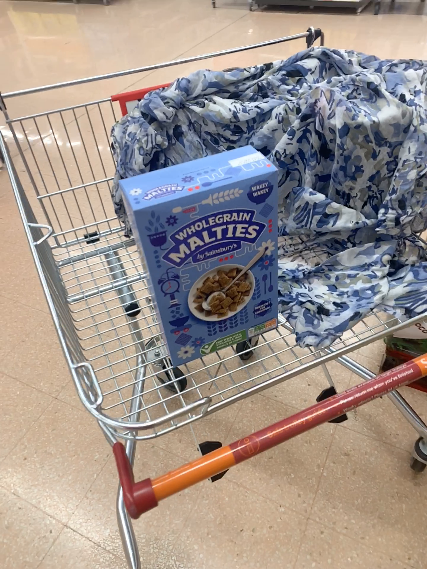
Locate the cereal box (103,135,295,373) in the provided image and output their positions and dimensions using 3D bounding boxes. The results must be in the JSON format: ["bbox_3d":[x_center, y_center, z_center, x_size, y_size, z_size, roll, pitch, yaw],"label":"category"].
[{"bbox_3d":[-0.007,-0.035,0.627,0.220,0.287,0.091,-19,42,-15],"label":"cereal box"}]
